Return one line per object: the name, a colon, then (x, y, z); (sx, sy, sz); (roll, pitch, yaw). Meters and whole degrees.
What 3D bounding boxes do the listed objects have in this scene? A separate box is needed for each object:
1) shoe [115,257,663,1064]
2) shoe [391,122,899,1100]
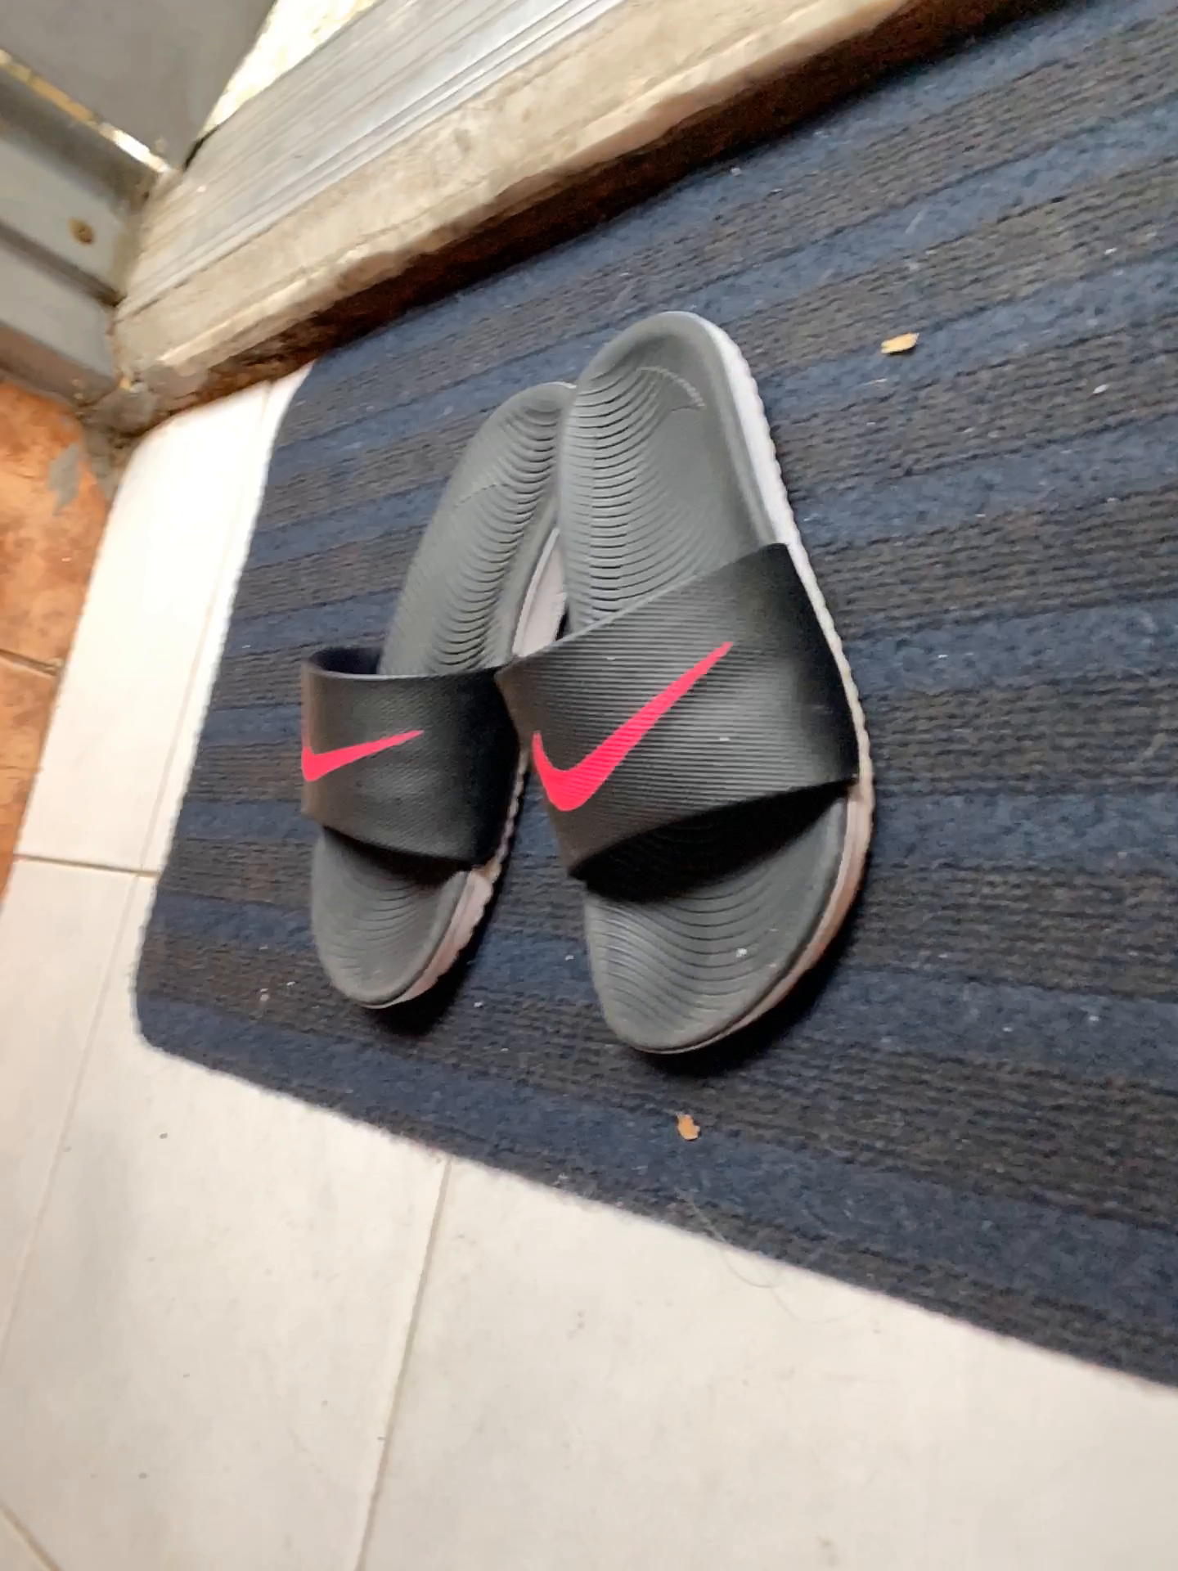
shoe: (-0.071, -0.043, 0.428); (0.099, 0.078, 0.251); (12, 83, 47)
shoe: (0.012, -0.046, 0.346); (0.099, 0.078, 0.251); (-20, 60, 39)
